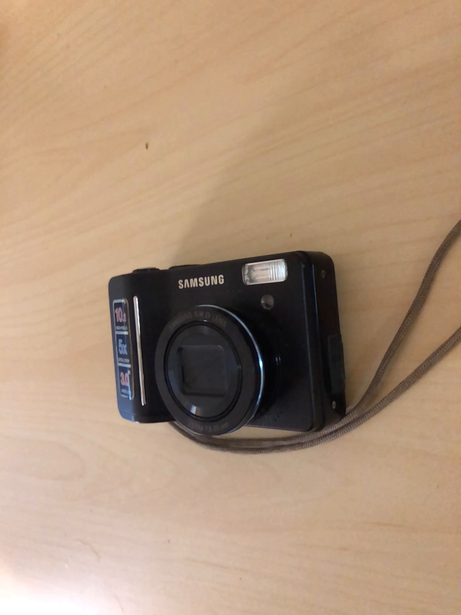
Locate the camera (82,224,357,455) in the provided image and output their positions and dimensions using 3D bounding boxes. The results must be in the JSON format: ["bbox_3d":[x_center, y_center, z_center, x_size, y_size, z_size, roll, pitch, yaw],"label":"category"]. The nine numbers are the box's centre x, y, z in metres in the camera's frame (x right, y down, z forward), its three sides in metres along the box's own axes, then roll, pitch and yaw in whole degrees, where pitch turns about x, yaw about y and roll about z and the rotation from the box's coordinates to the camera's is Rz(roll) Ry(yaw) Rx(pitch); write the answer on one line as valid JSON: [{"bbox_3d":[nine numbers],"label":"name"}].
[{"bbox_3d":[-0.011,0.012,0.202,0.111,0.030,0.070,-3,90,39],"label":"camera"}]
